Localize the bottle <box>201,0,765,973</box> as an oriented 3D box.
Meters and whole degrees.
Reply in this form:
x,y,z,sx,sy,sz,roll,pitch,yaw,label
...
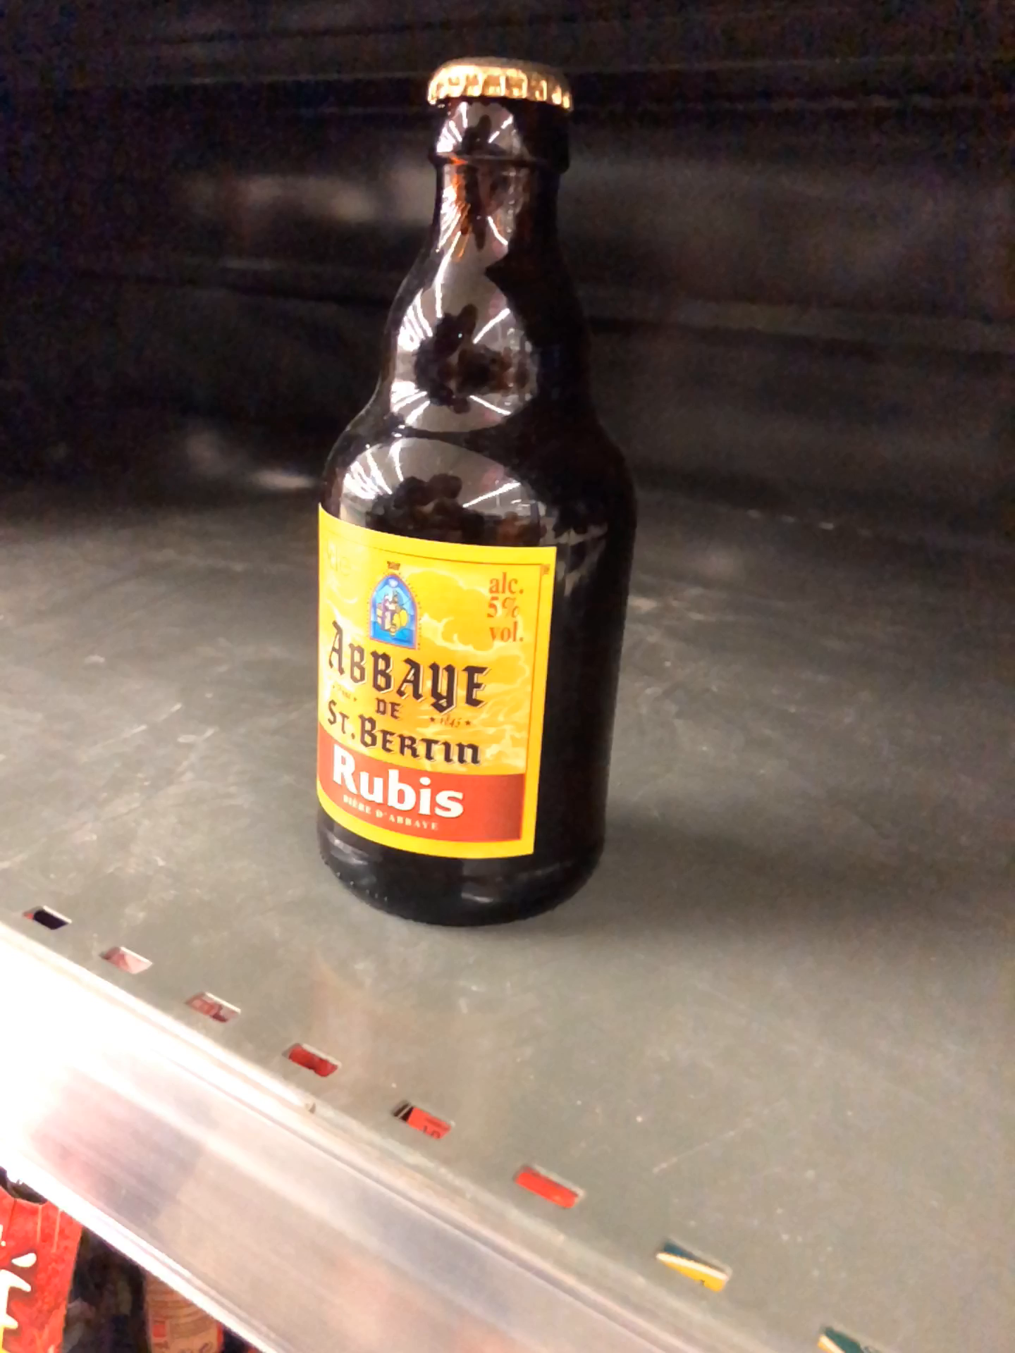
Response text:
x,y,z,sx,sy,sz,roll,pitch,yaw,label
-0.008,-0.041,0.237,0.080,0.169,0.070,15,21,30,bottle
